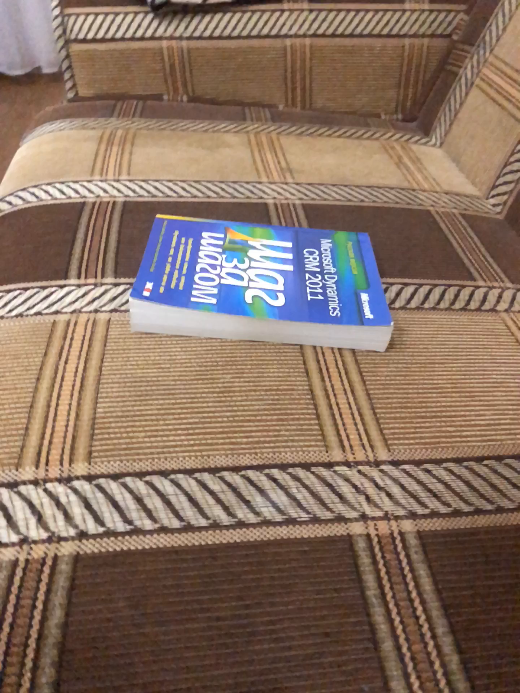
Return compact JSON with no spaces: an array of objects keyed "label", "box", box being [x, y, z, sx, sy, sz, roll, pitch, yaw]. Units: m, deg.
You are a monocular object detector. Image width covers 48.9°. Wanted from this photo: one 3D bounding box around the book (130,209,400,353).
[{"label":"book","box":[0.004,-0.062,0.490,0.200,0.030,0.152,4,40,-2]}]
